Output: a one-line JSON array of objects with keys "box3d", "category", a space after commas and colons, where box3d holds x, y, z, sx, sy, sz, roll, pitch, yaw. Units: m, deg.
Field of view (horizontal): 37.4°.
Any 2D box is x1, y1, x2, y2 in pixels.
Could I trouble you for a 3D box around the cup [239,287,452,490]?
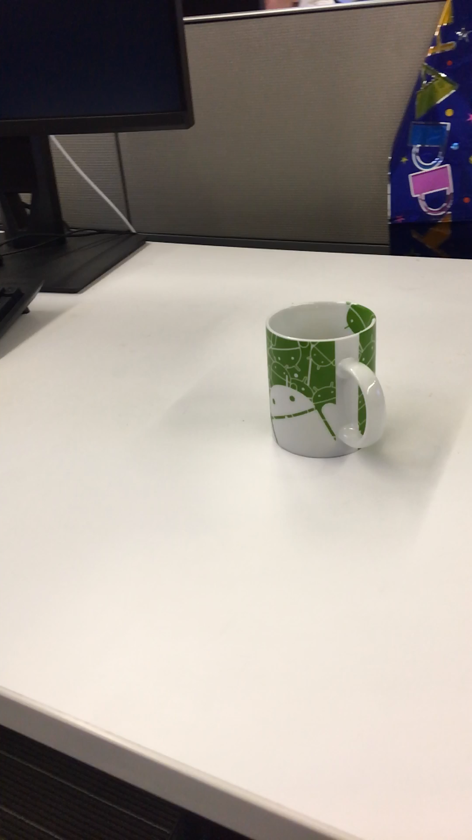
[{"box3d": [0.075, -0.028, 0.494, 0.090, 0.090, 0.110, -26, 36, -33], "category": "cup"}]
